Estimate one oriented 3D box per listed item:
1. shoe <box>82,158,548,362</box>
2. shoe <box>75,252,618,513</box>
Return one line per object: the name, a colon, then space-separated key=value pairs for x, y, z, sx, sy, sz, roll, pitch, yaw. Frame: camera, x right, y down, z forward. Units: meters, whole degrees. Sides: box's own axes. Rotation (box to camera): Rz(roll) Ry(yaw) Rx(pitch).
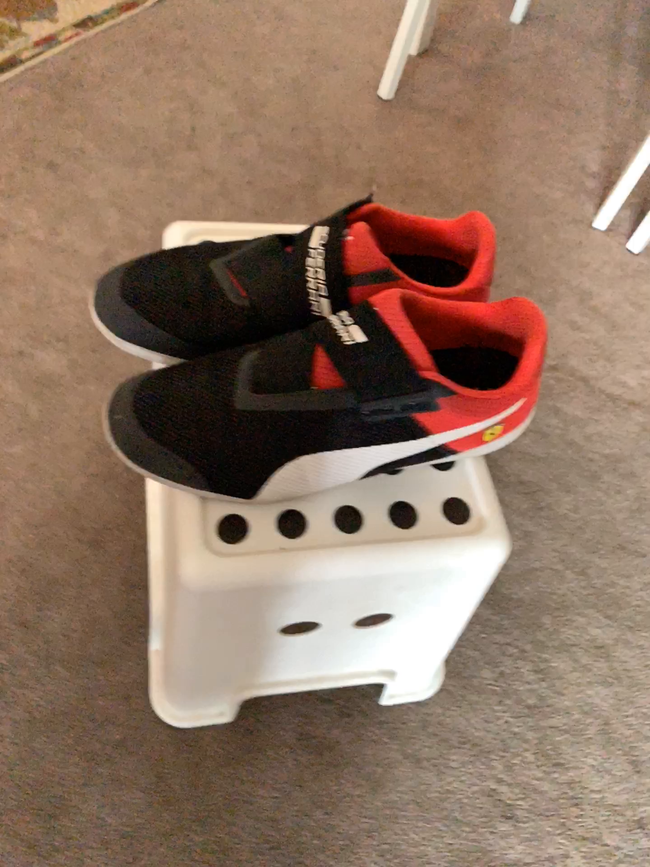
shoe: x=-0.009 y=-0.122 z=0.487 sx=0.300 sy=0.089 sz=0.101 roll=-3 pitch=59 yaw=-12
shoe: x=0.009 y=-0.037 z=0.423 sx=0.300 sy=0.089 sz=0.111 roll=-6 pitch=59 yaw=-14
